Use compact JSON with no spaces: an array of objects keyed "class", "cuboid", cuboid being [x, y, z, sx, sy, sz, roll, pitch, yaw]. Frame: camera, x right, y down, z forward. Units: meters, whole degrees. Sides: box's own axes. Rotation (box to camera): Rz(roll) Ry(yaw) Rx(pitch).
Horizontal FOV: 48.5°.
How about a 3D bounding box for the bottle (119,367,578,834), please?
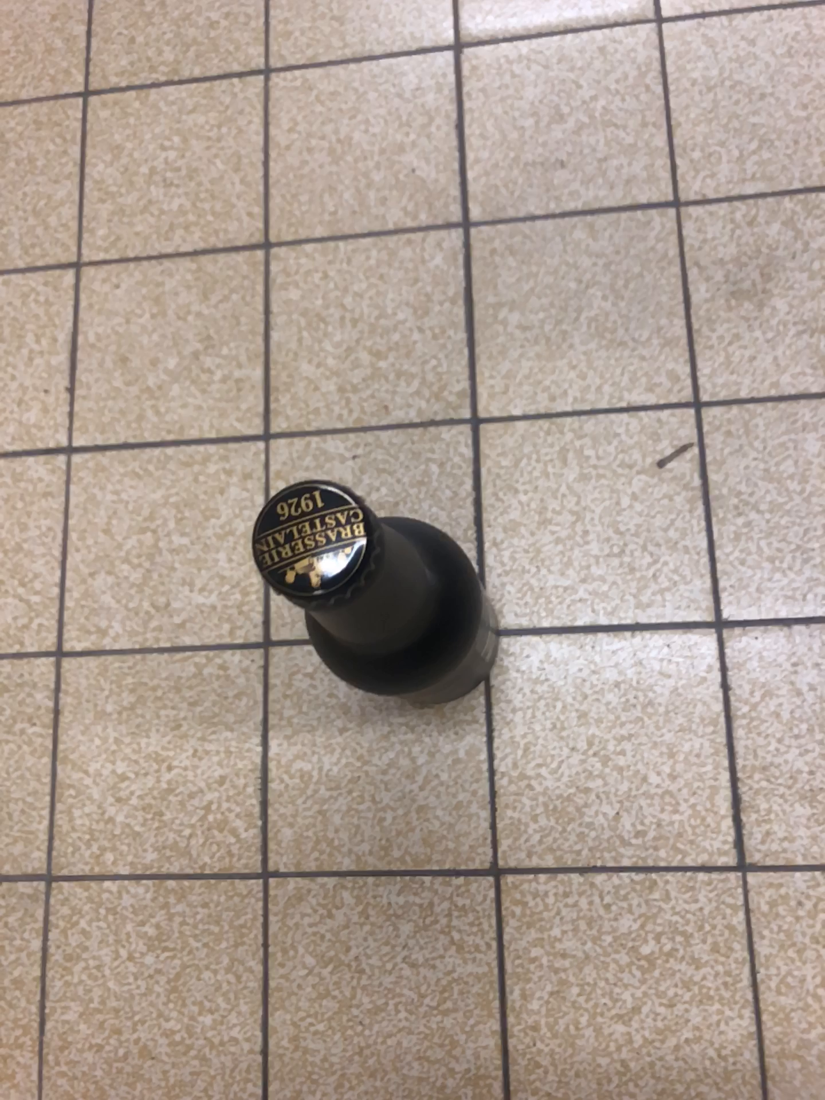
[{"class":"bottle","cuboid":[0.001,0.029,0.296,0.070,0.220,0.070,-2,79,8]}]
